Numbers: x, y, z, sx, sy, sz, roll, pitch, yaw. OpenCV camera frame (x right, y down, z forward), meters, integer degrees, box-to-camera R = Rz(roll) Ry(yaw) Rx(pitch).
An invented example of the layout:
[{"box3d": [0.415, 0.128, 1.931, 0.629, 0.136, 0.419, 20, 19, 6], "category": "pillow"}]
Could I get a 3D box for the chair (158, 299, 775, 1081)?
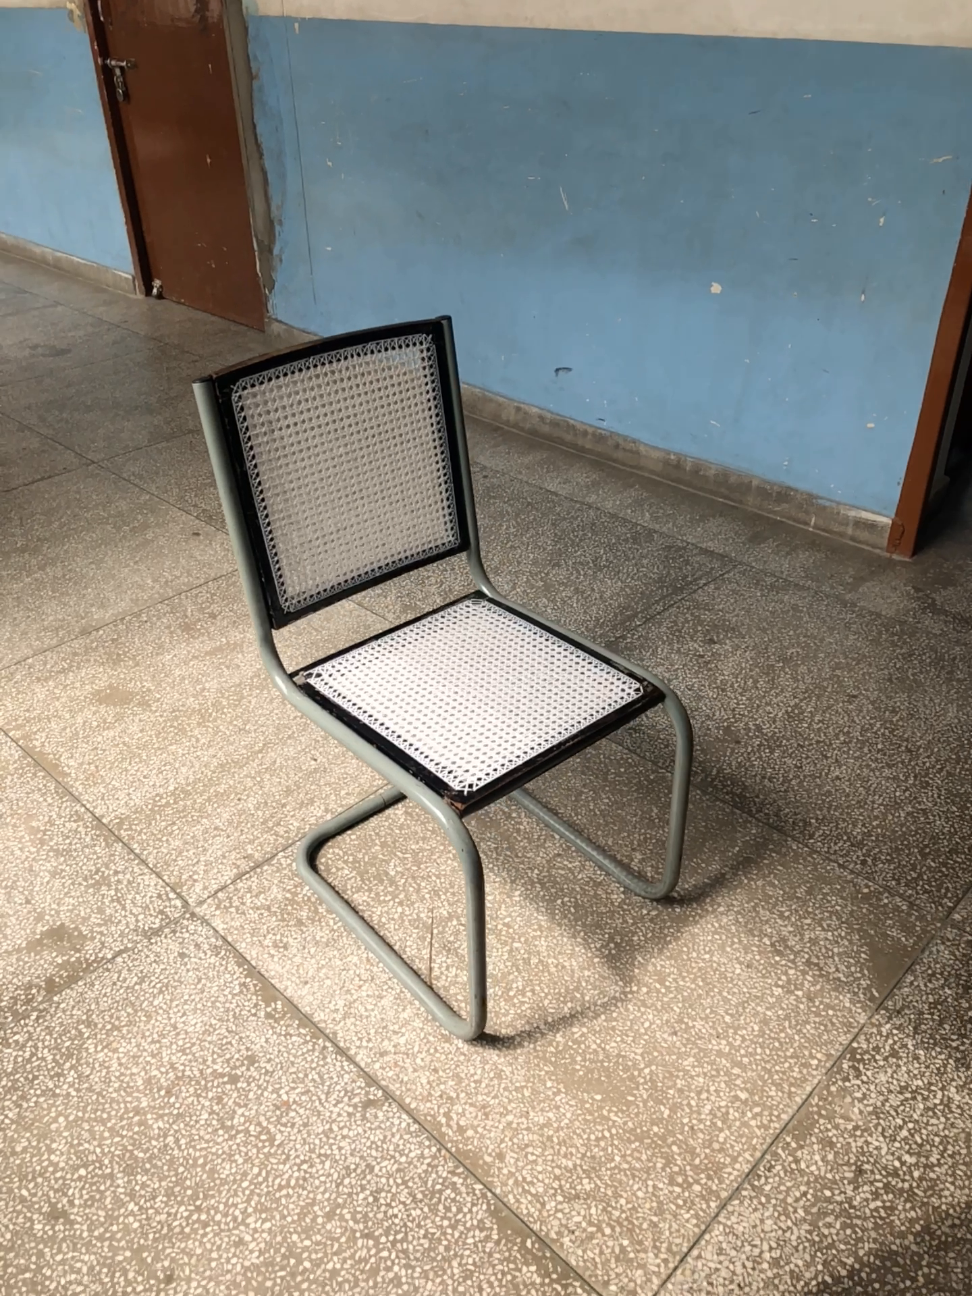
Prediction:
[{"box3d": [-0.033, 0.024, 1.511, 0.491, 0.817, 0.572, -26, 41, -34], "category": "chair"}]
